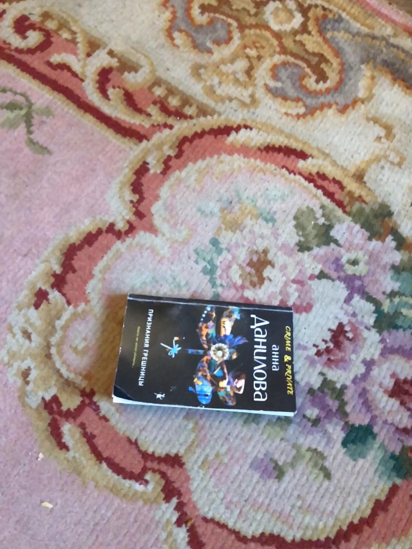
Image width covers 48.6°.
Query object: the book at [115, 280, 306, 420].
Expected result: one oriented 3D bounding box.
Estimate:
[{"bbox_3d":[0.007,0.073,0.435,0.165,0.050,0.110,6,69,-3],"label":"book"}]
